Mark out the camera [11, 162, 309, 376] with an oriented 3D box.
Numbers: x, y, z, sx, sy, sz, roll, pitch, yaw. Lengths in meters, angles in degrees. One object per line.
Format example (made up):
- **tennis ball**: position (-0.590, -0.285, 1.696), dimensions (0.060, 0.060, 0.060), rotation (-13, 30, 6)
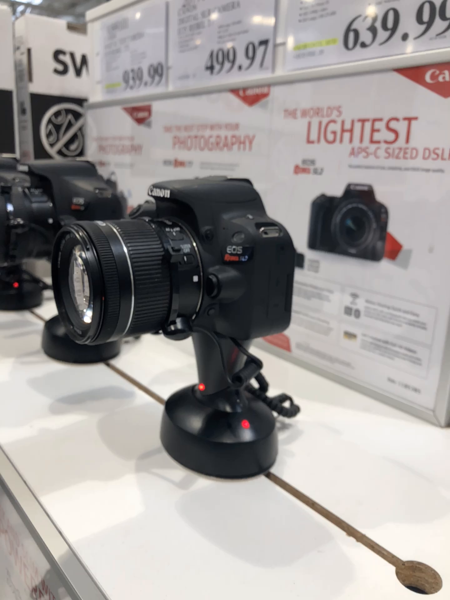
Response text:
- **camera**: position (-0.043, -0.032, 0.301), dimensions (0.120, 0.090, 0.130), rotation (-9, 19, -37)
